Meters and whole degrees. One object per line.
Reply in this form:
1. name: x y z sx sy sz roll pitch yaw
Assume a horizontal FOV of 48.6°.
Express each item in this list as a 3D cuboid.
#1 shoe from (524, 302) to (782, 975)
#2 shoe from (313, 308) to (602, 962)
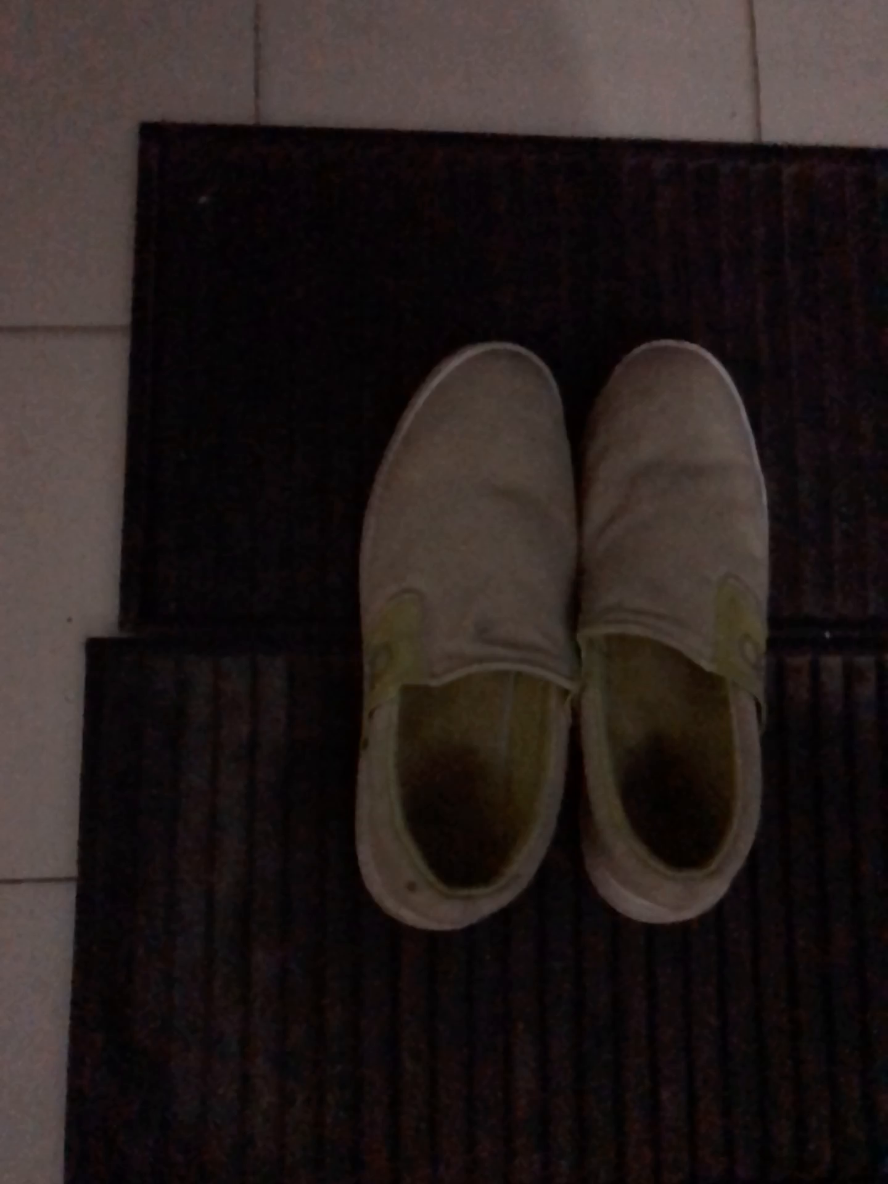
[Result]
1. shoe: 0.111 0.022 0.532 0.110 0.090 0.330 3 81 -3
2. shoe: 0.008 0.020 0.502 0.120 0.090 0.300 3 81 -3
